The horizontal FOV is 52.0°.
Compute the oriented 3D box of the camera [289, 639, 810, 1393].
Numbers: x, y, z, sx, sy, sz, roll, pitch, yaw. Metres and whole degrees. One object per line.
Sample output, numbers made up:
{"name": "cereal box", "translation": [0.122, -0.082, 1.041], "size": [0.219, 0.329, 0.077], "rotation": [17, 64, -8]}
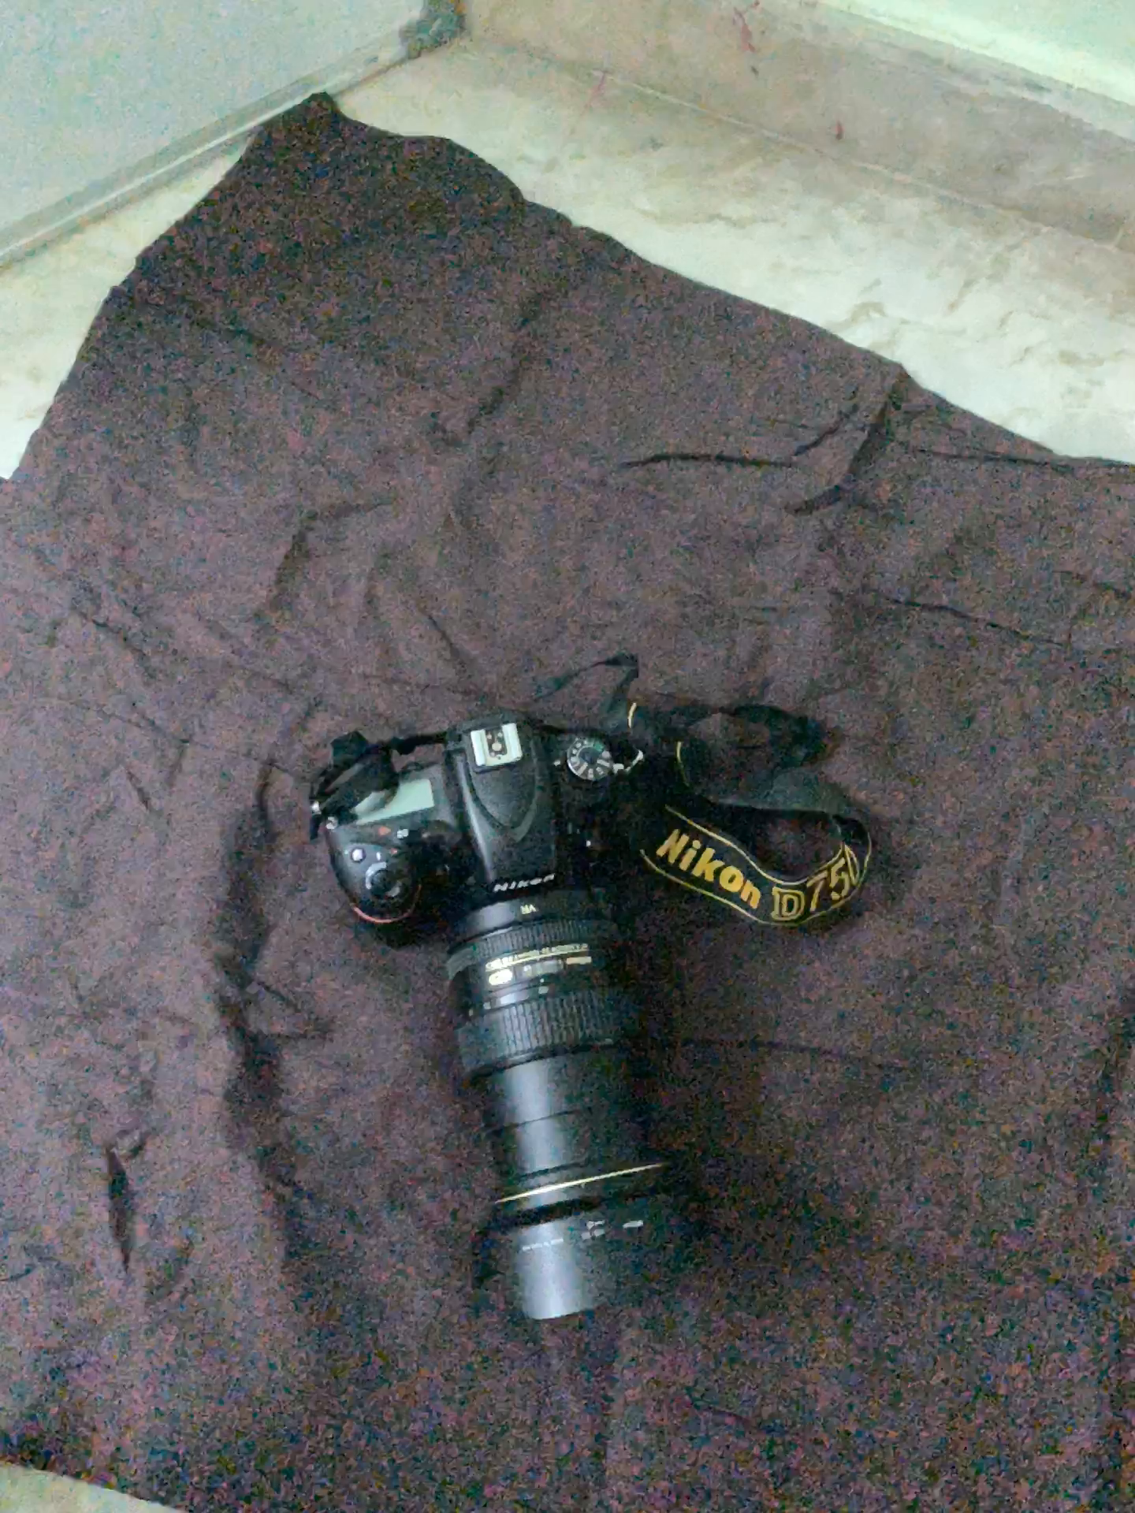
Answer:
{"name": "camera", "translation": [-0.018, 0.106, 0.526], "size": [0.161, 0.100, 0.279], "rotation": [-11, 71, -7]}
